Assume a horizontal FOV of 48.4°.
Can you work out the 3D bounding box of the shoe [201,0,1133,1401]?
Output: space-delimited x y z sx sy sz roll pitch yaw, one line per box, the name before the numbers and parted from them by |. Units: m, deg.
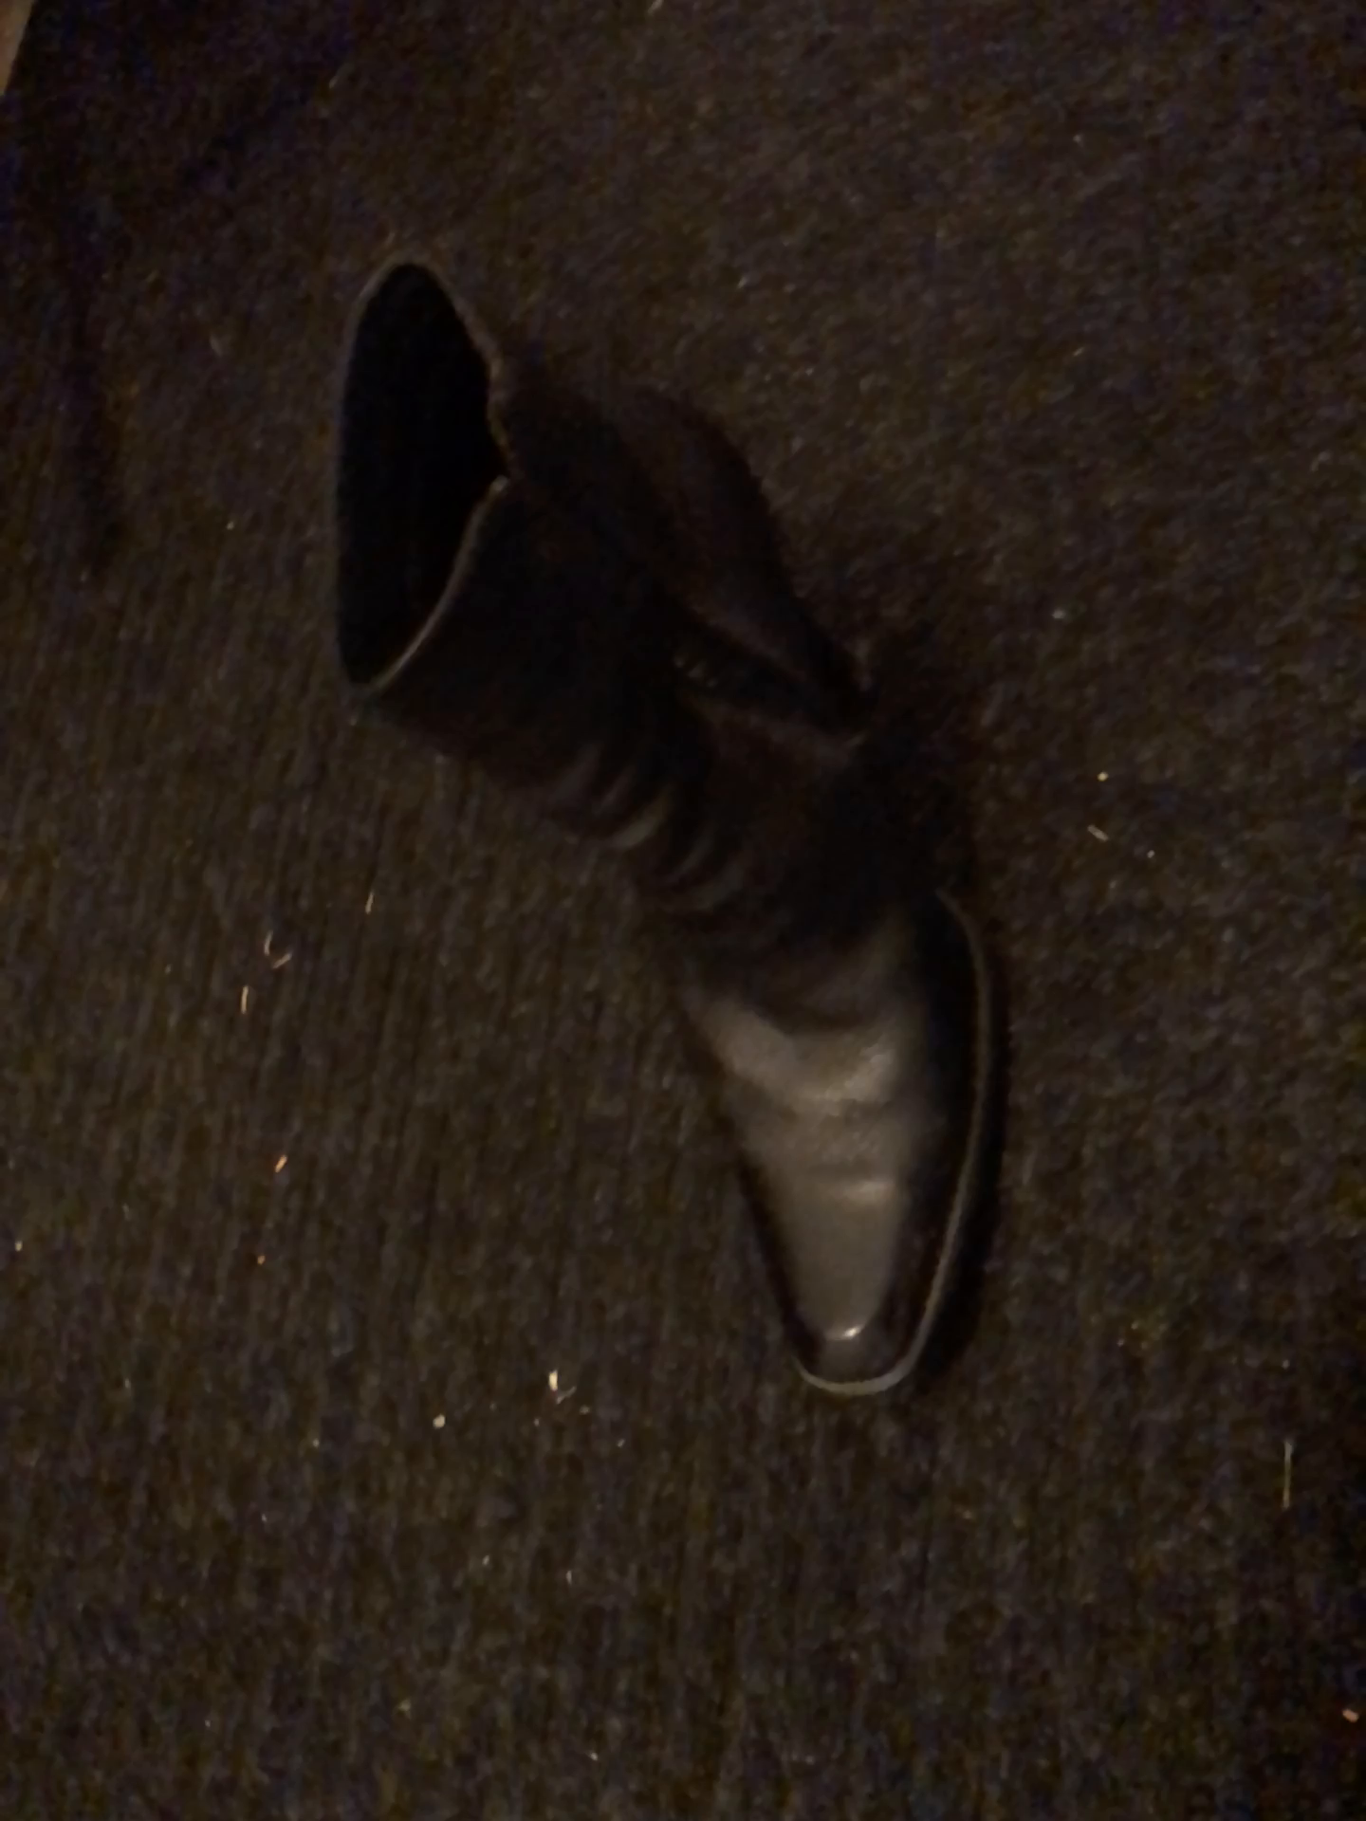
shoe | 0.012 -0.027 0.340 0.090 0.209 0.240 -14 64 24
